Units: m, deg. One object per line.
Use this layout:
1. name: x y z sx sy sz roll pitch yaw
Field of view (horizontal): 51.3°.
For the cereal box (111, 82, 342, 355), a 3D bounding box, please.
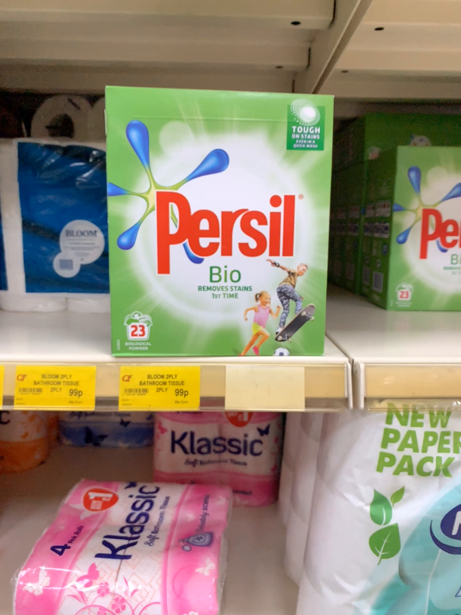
1. cereal box: -0.005 -0.082 0.477 0.200 0.239 0.090 0 9 -3
